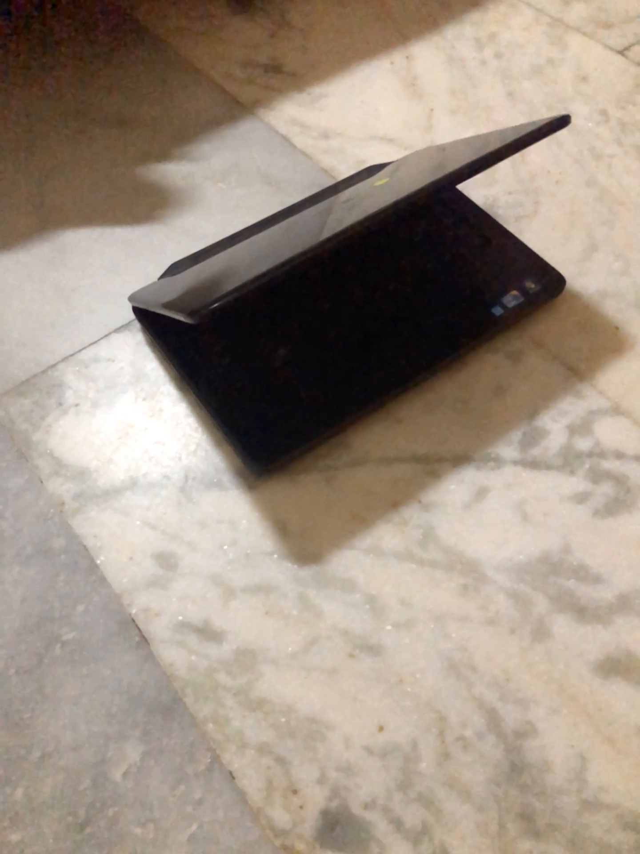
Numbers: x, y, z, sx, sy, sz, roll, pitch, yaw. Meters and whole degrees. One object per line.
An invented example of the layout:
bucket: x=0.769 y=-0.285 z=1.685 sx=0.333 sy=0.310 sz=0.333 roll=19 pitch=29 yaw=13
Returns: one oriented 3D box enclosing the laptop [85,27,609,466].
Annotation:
laptop: x=0.025 y=-0.175 z=0.632 sx=0.351 sy=0.161 sz=0.234 roll=-32 pitch=61 yaw=-19
